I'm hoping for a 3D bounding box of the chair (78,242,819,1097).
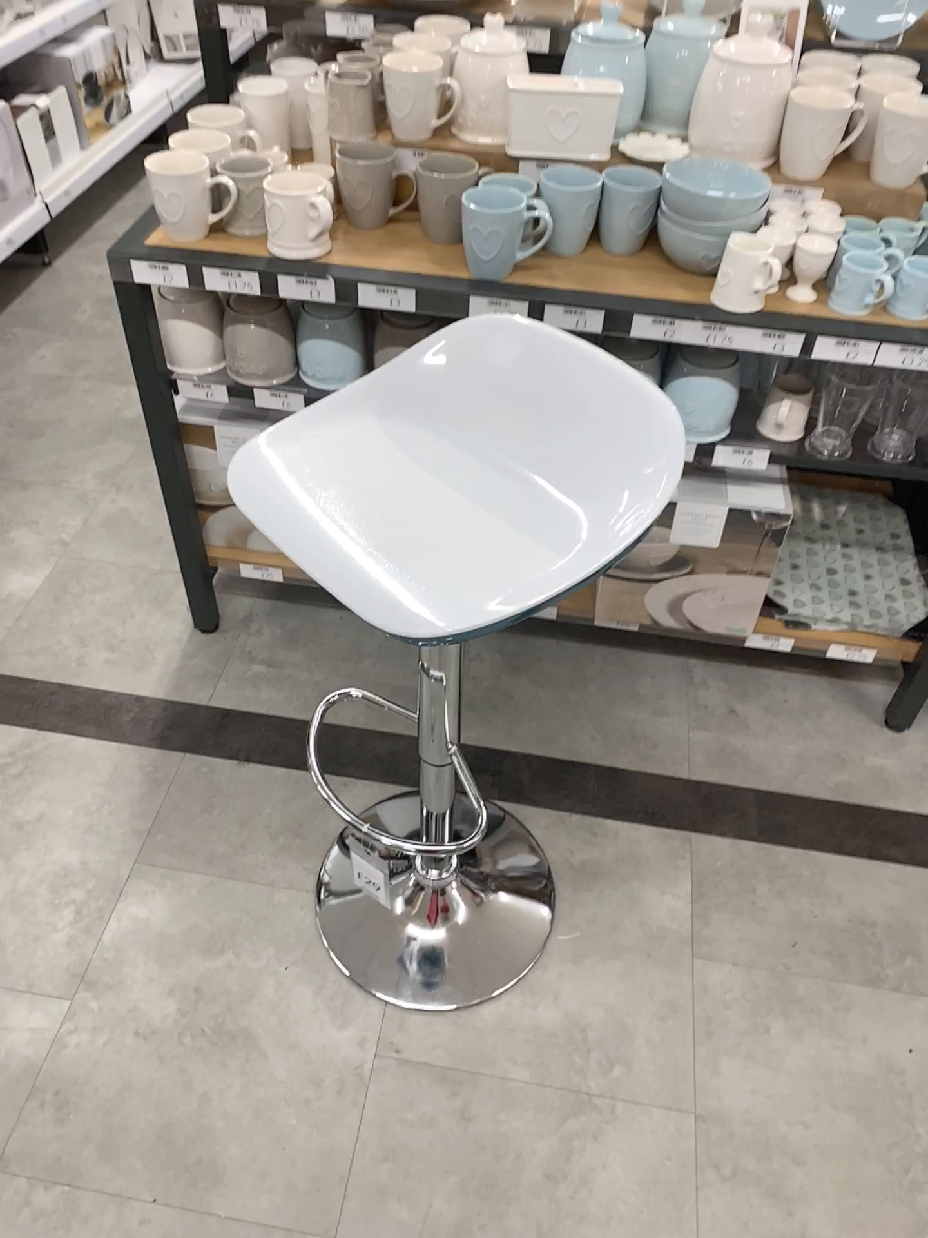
[{"bbox_3d":[-0.029,0.072,1.149,0.471,0.775,0.504,-33,55,-31],"label":"chair"}]
